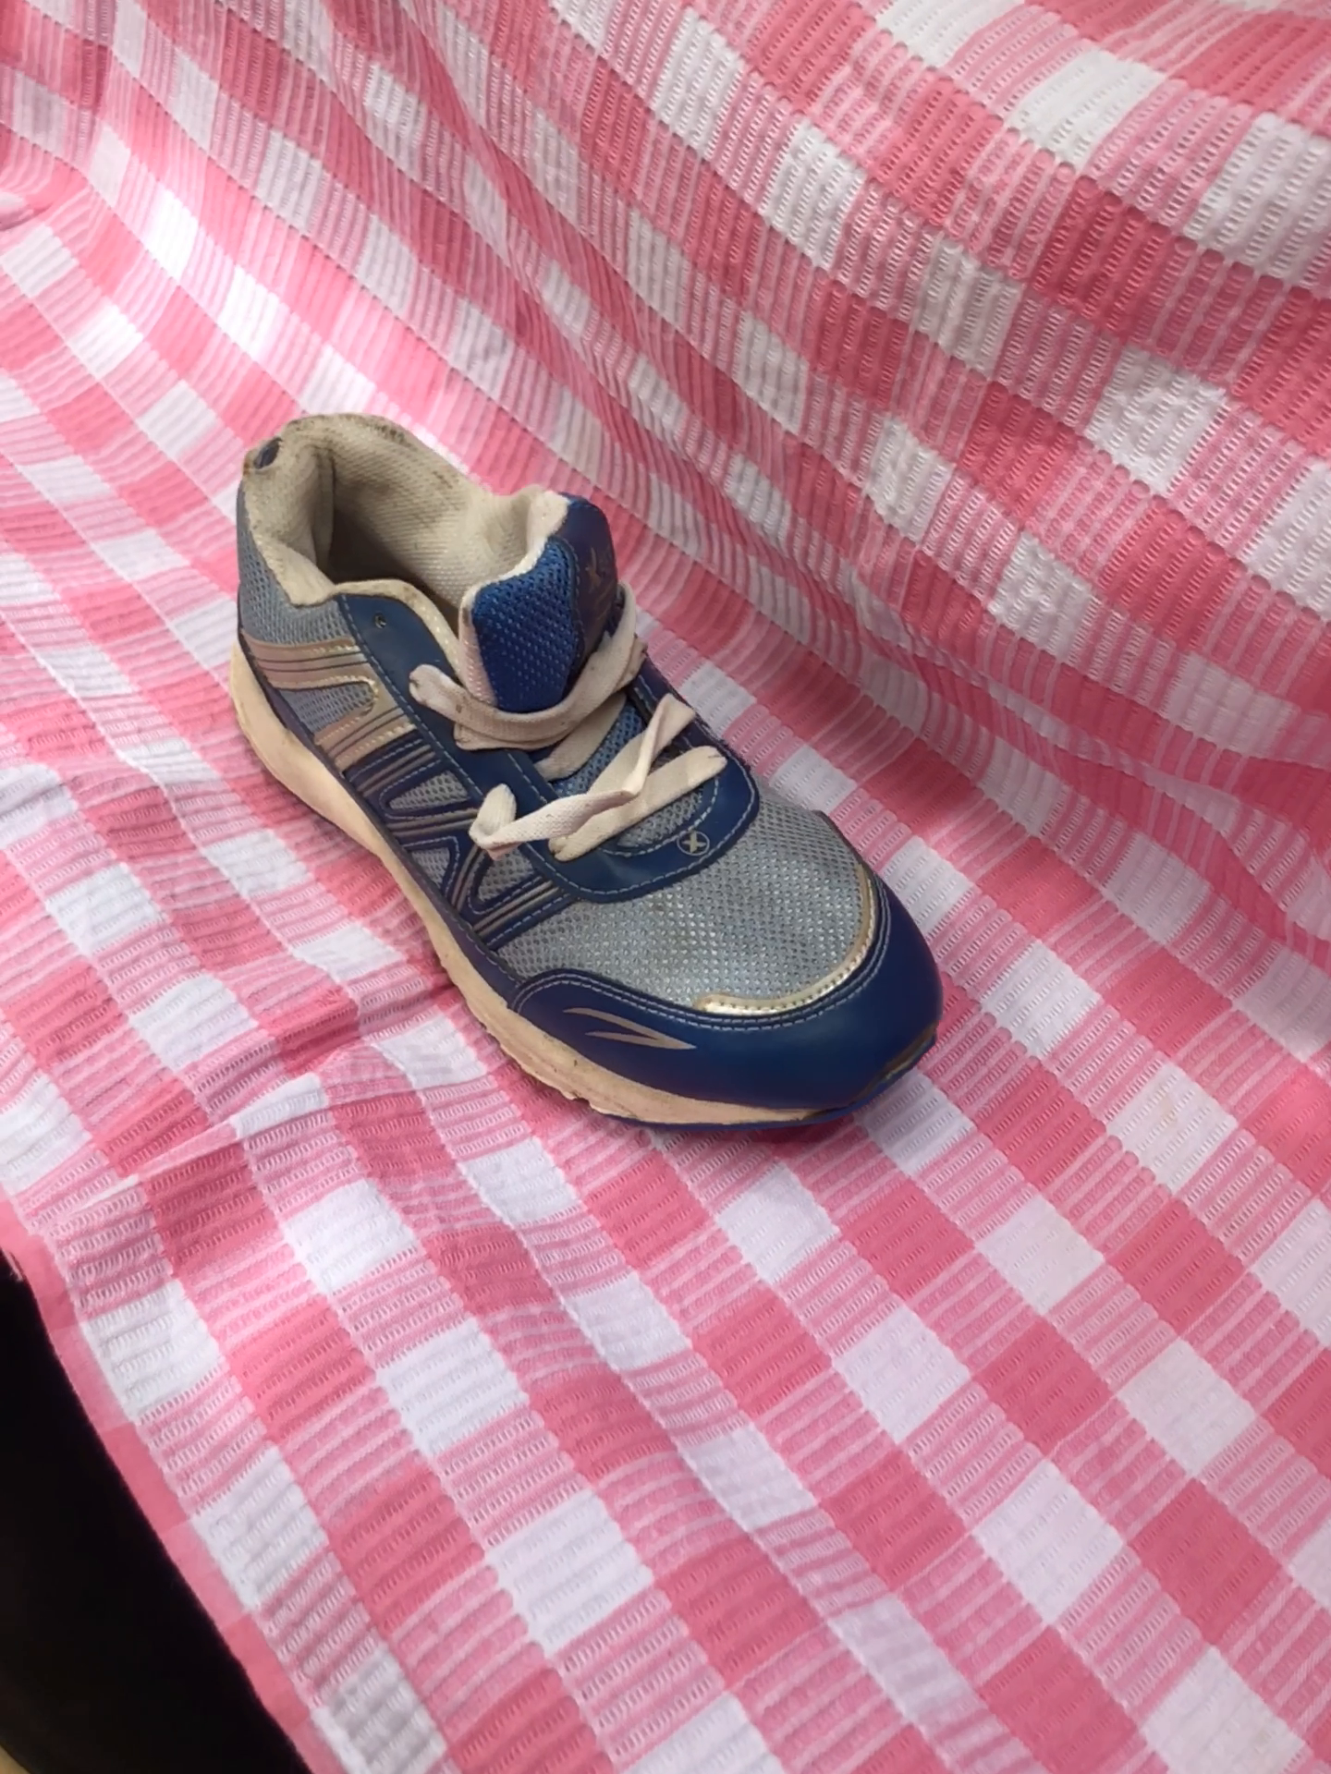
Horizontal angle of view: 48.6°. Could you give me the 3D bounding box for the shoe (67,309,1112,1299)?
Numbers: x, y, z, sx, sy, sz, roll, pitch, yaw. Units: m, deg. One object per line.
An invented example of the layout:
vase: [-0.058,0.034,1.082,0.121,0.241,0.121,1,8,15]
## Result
shoe: [-0.037,-0.042,0.408,0.110,0.099,0.280,-30,57,-31]
